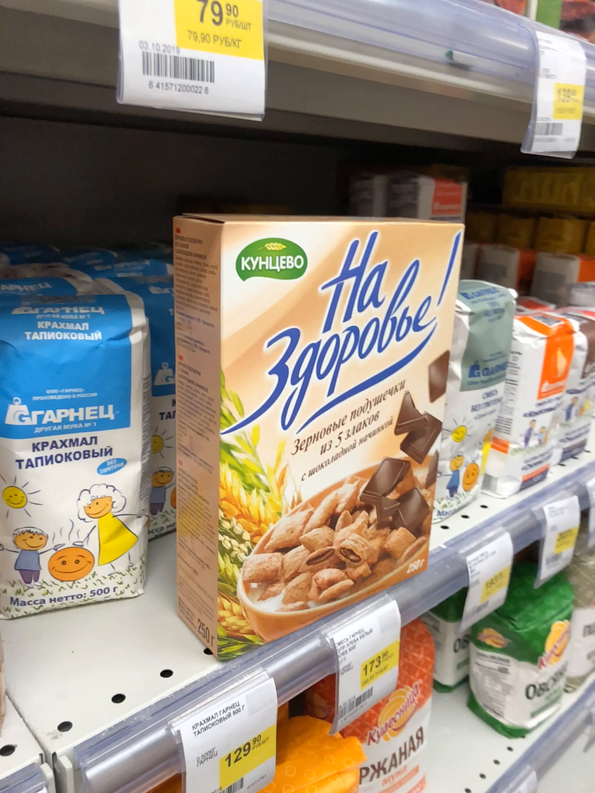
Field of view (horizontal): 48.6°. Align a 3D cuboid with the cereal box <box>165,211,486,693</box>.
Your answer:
[{"bbox_3d":[0.016,0.017,0.349,0.160,0.219,0.050,-11,21,-36],"label":"cereal box"}]
